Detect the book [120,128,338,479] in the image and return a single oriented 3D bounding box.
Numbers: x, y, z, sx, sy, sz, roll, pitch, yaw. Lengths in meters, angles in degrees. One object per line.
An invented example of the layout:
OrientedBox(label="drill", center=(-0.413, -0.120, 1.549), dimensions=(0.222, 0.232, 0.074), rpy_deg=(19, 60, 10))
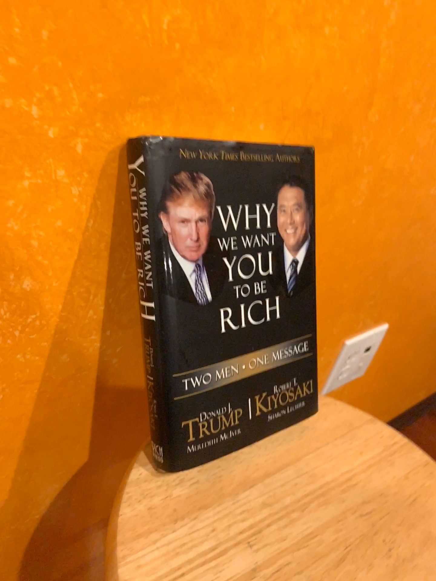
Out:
OrientedBox(label="book", center=(0.017, 0.002, 0.324), dimensions=(0.151, 0.210, 0.044), rpy_deg=(-9, 13, -34))
